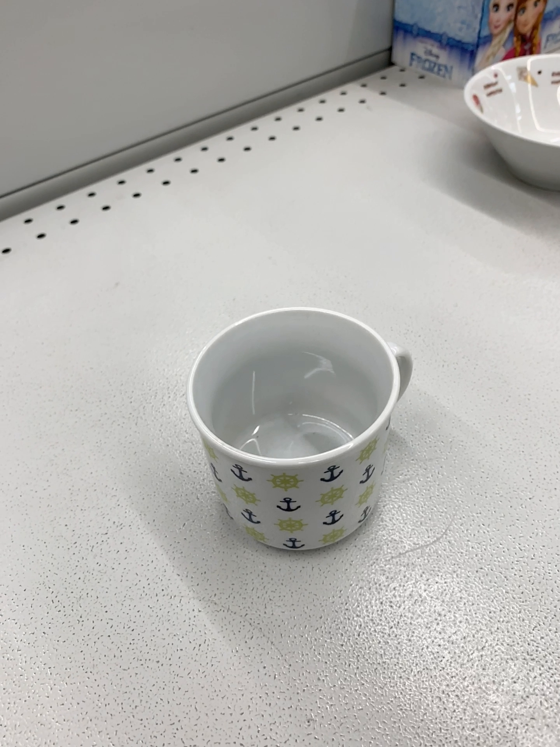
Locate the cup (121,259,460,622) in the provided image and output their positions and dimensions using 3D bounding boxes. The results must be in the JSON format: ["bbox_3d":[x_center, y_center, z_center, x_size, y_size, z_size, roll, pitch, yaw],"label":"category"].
[{"bbox_3d":[0.009,0.022,0.234,0.078,0.076,0.096,28,56,28],"label":"cup"}]
